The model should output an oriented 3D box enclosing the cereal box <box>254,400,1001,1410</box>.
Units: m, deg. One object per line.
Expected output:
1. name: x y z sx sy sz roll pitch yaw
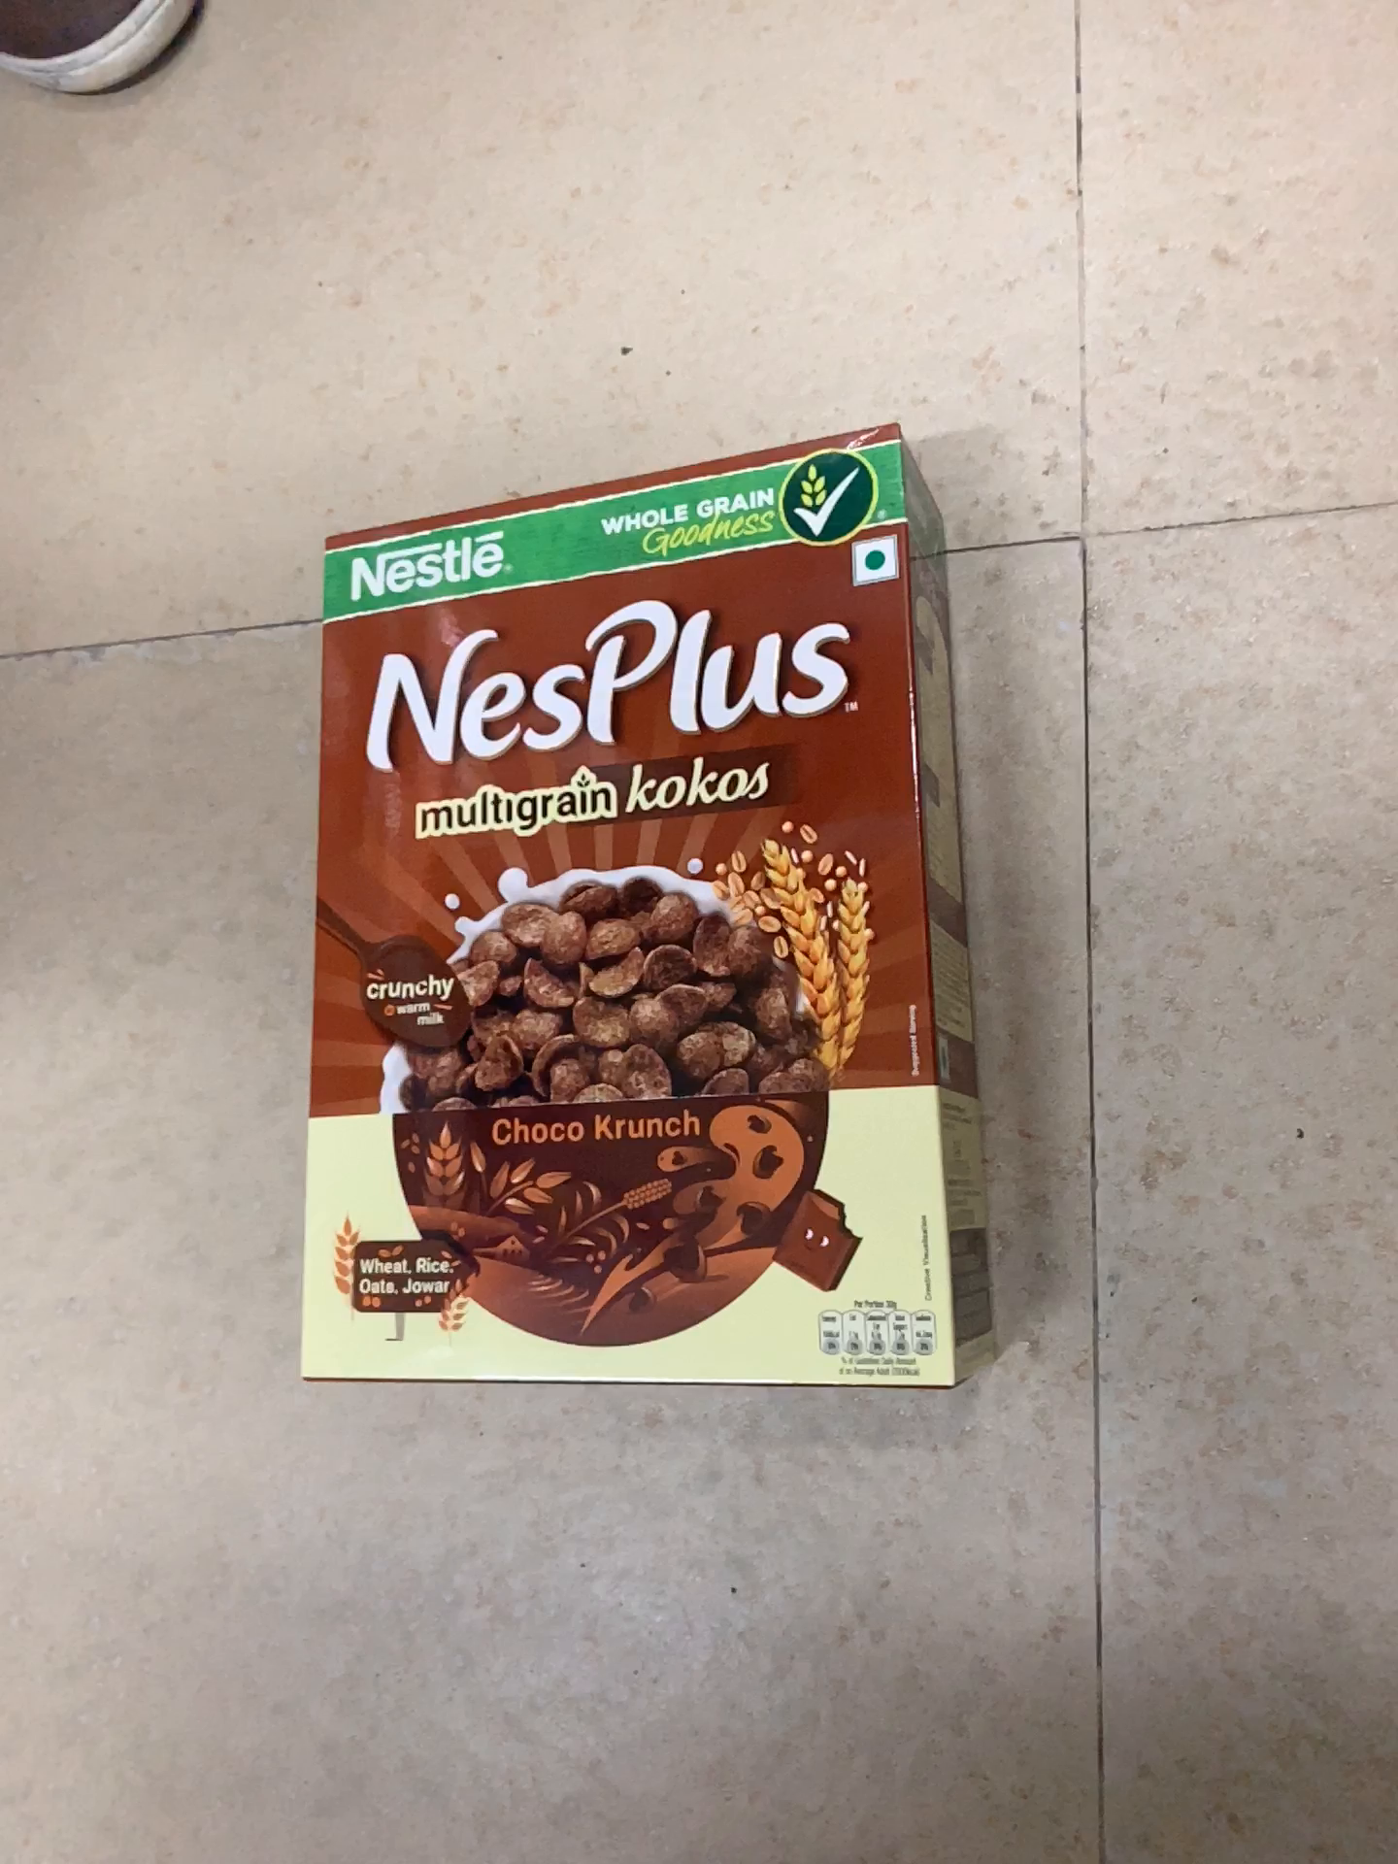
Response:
1. cereal box: -0.022 -0.001 0.465 0.210 0.090 0.280 -5 79 18
